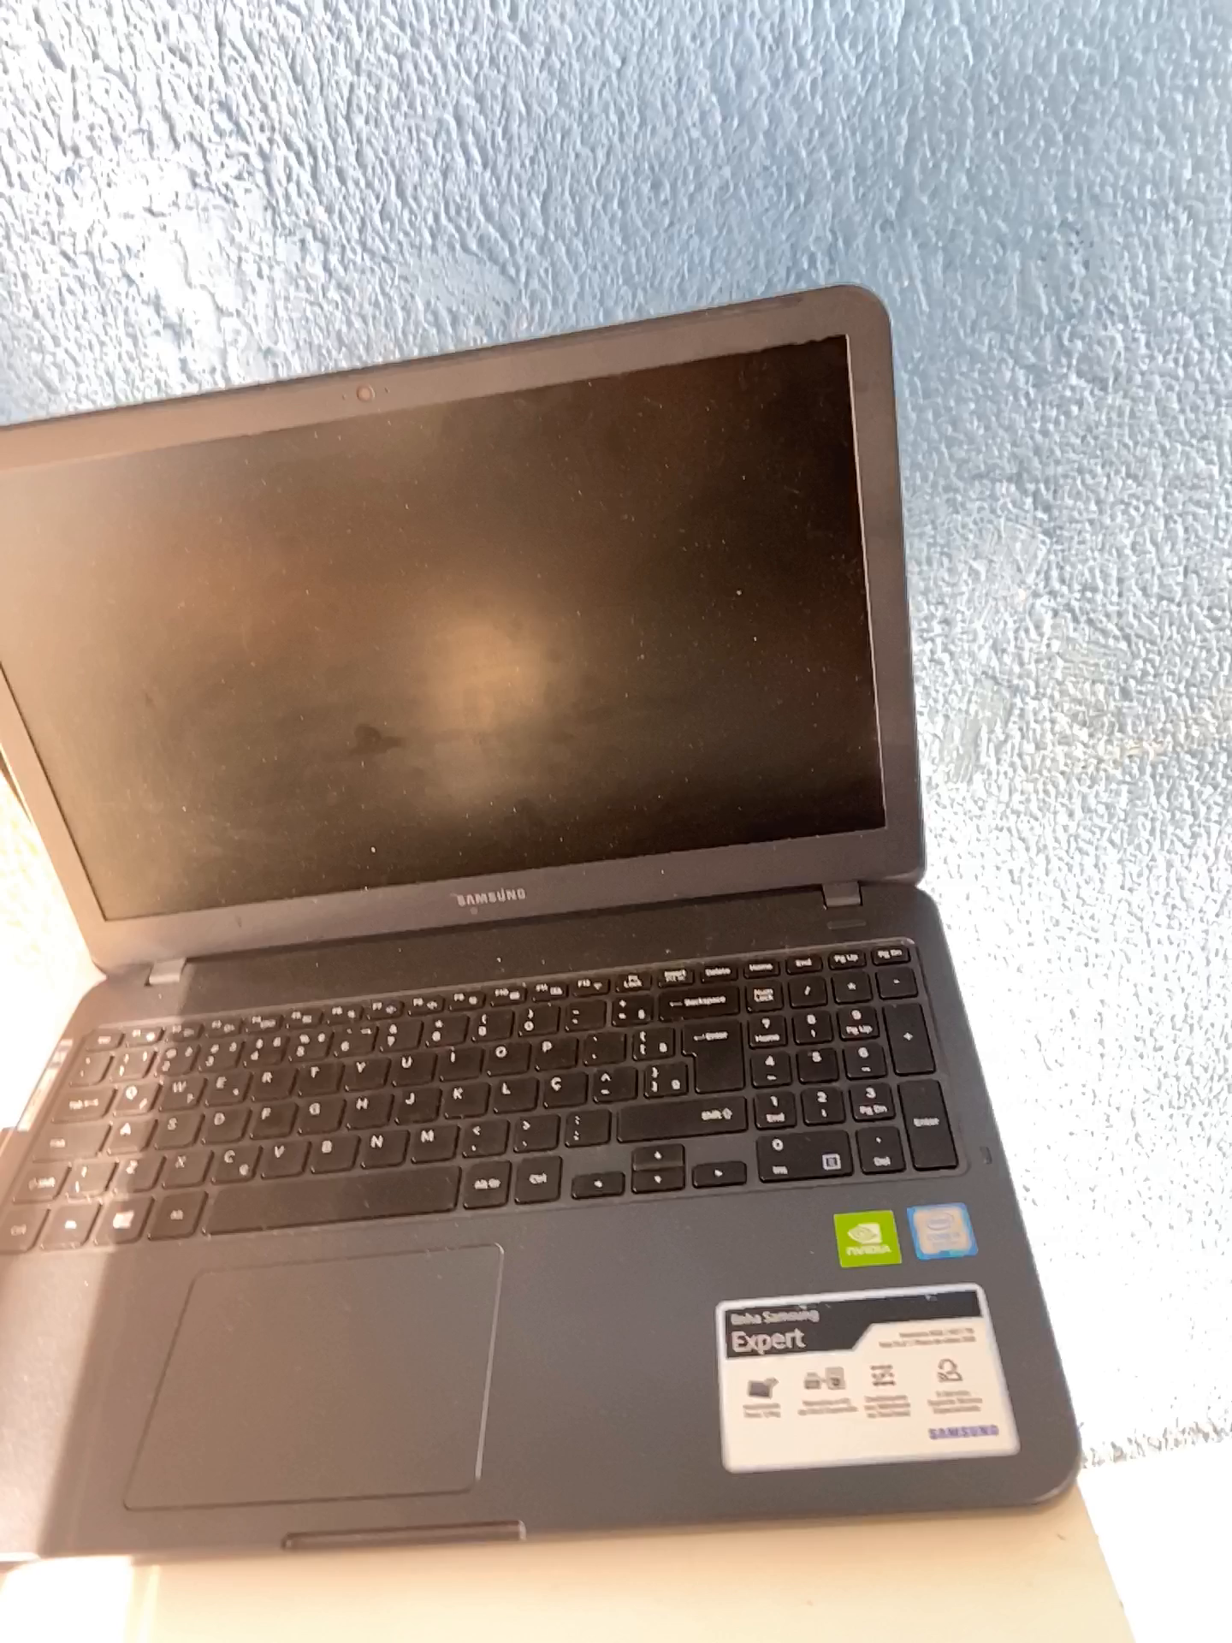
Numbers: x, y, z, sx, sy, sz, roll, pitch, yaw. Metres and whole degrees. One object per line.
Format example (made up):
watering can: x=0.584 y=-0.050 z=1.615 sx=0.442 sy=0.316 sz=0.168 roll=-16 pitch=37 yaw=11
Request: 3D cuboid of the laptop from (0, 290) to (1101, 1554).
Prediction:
laptop: x=-0.078 y=0.020 z=0.409 sx=0.370 sy=0.232 sz=0.288 roll=-7 pitch=36 yaw=7
